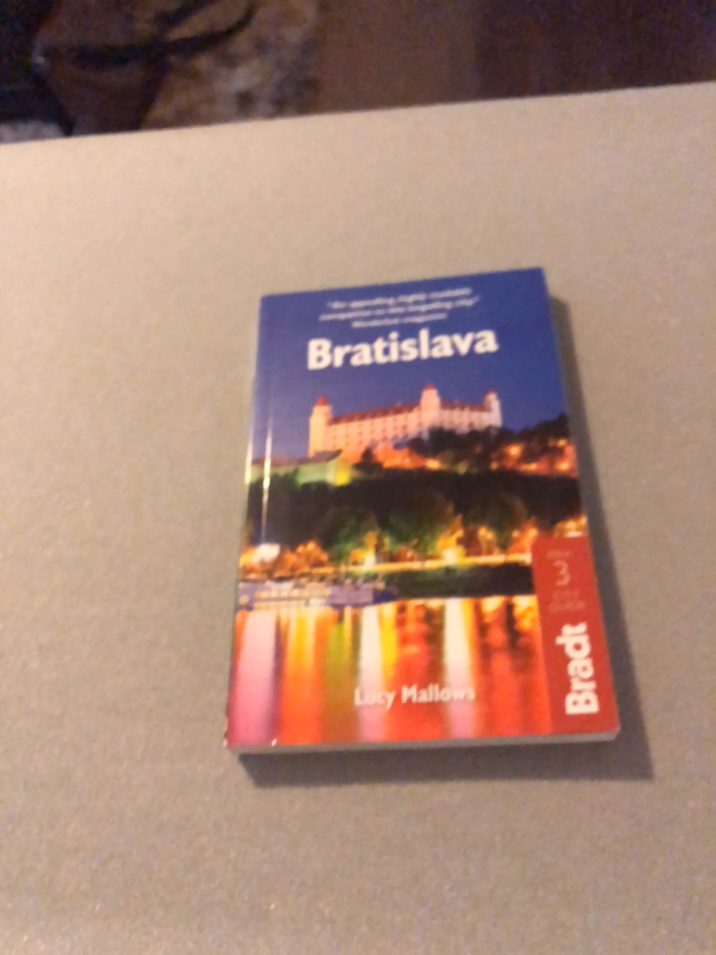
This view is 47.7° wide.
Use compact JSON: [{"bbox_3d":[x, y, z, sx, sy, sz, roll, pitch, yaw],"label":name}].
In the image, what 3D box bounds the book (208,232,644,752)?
[{"bbox_3d":[0.021,-0.004,0.320,0.140,0.020,0.210,-5,60,10],"label":"book"}]
